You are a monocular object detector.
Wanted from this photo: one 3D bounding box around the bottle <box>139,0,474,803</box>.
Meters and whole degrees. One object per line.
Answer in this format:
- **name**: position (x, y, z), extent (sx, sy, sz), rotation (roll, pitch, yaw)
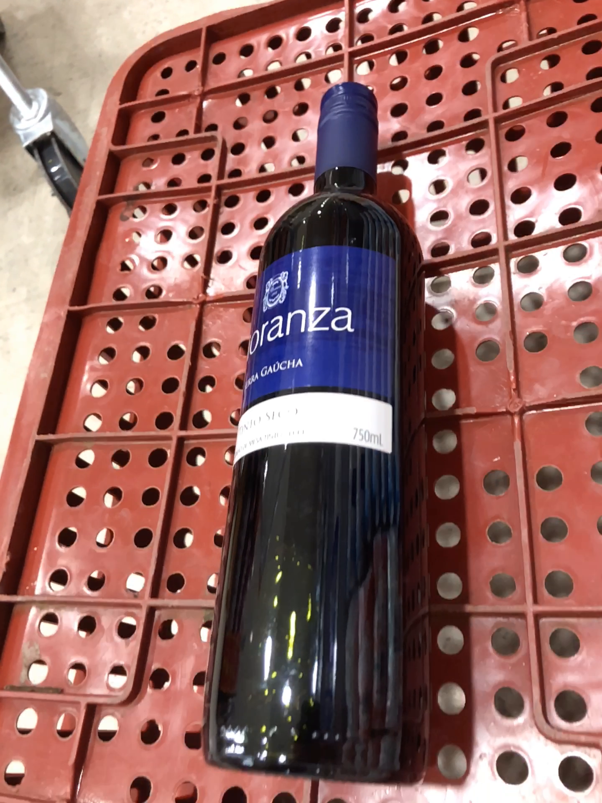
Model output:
- **bottle**: position (0.008, -0.018, 0.265), extent (0.080, 0.060, 0.301), rotation (-20, 56, 39)
